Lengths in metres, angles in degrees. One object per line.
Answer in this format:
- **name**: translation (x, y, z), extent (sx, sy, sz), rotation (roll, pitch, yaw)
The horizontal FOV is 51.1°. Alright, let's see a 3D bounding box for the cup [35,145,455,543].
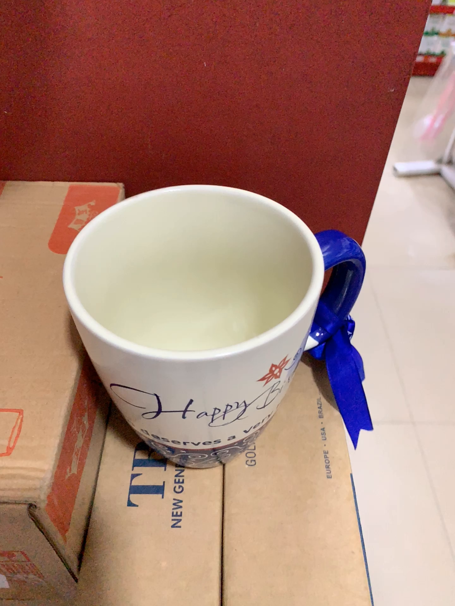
- **cup**: translation (0.009, 0.009, 0.199), extent (0.131, 0.086, 0.092), rotation (-22, 51, -20)
